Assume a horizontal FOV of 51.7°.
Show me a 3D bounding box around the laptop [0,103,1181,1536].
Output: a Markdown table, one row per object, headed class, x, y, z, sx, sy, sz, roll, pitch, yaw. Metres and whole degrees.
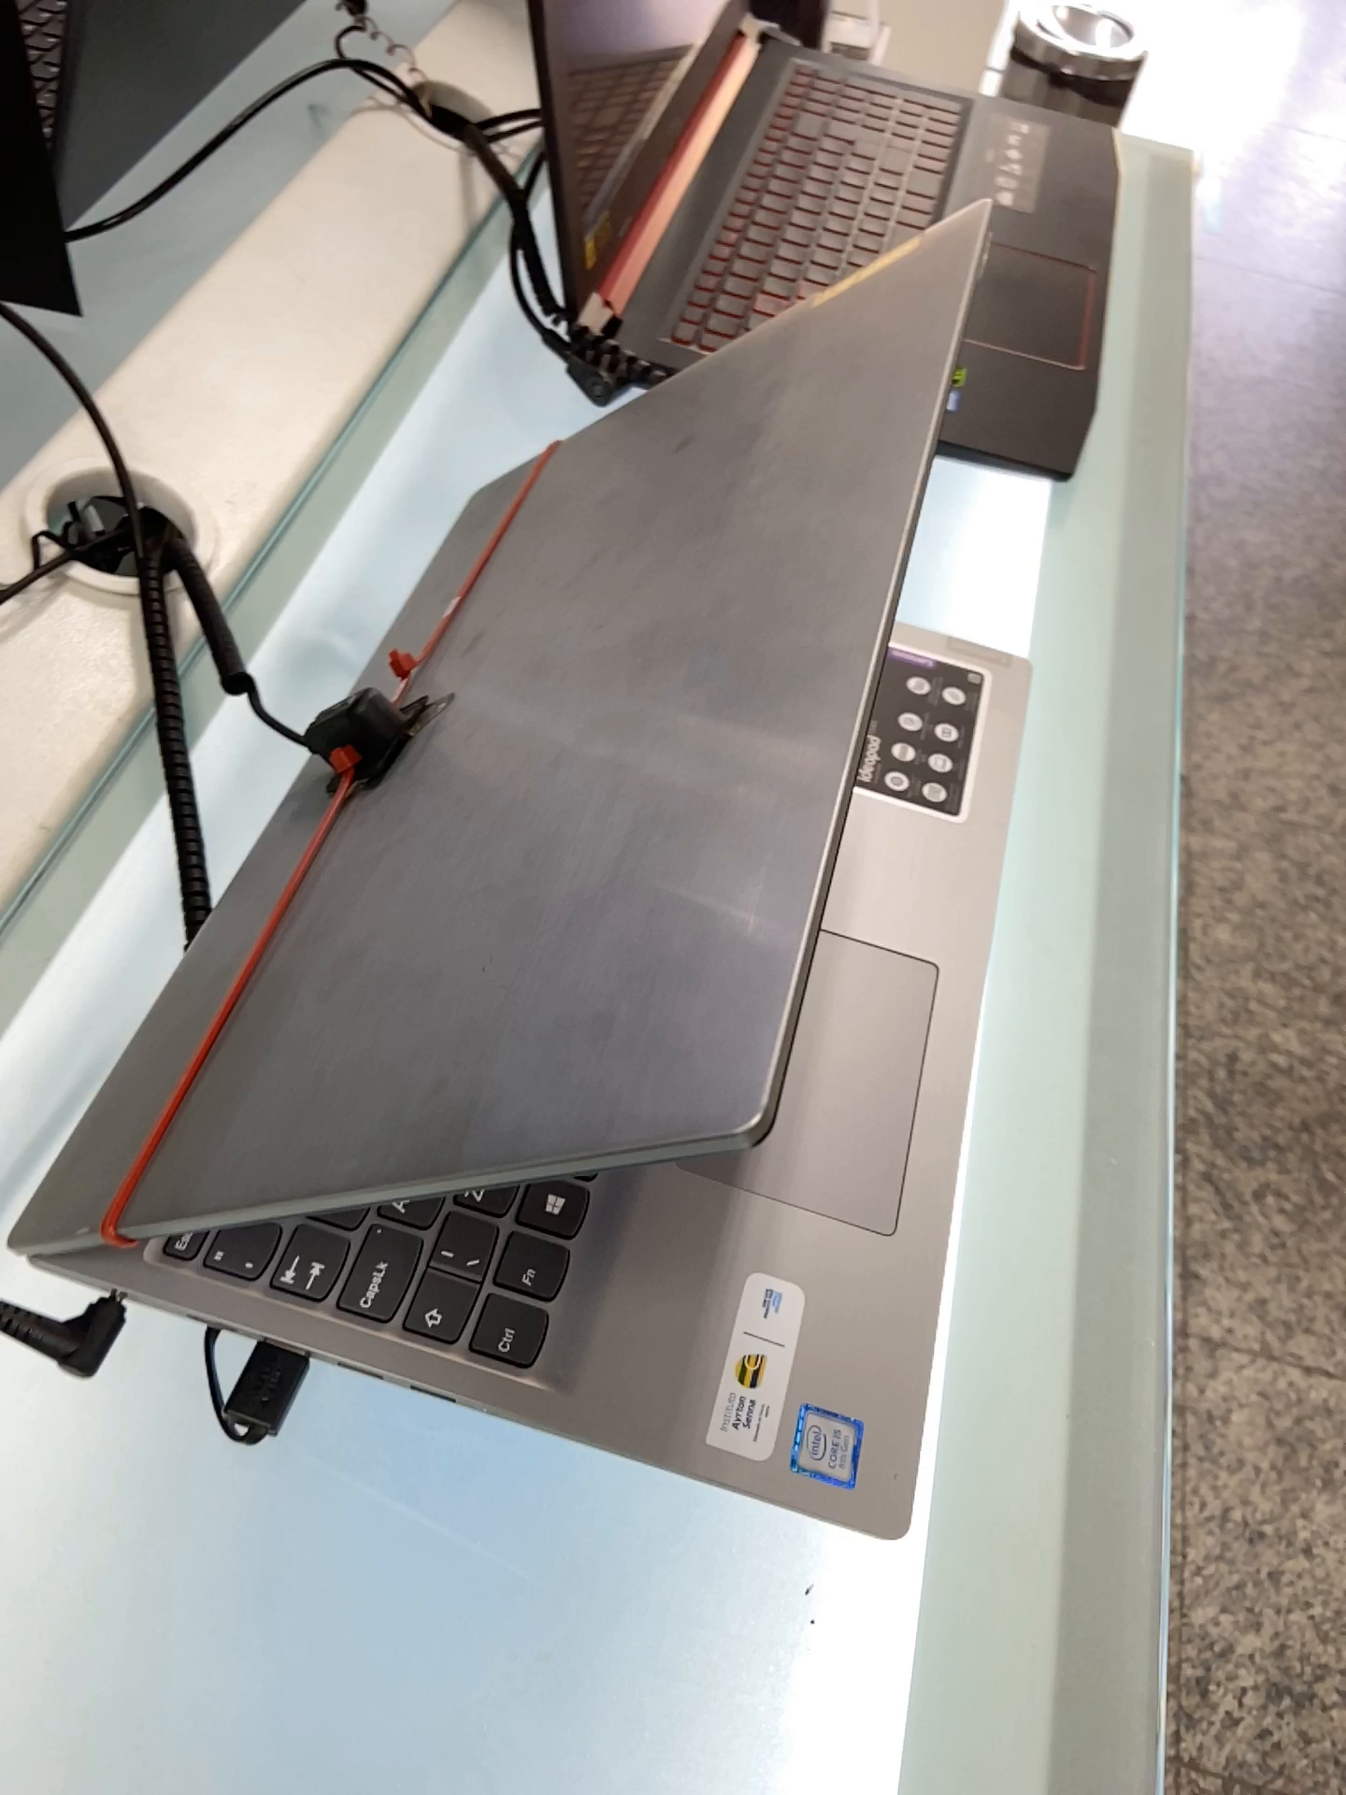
| class | x | y | z | sx | sy | sz | roll | pitch | yaw |
| --- | --- | --- | --- | --- | --- | --- | --- | --- | --- |
| laptop | -0.002 | -0.052 | 0.419 | 0.246 | 0.167 | 0.363 | 16 | 51 | 3 |
